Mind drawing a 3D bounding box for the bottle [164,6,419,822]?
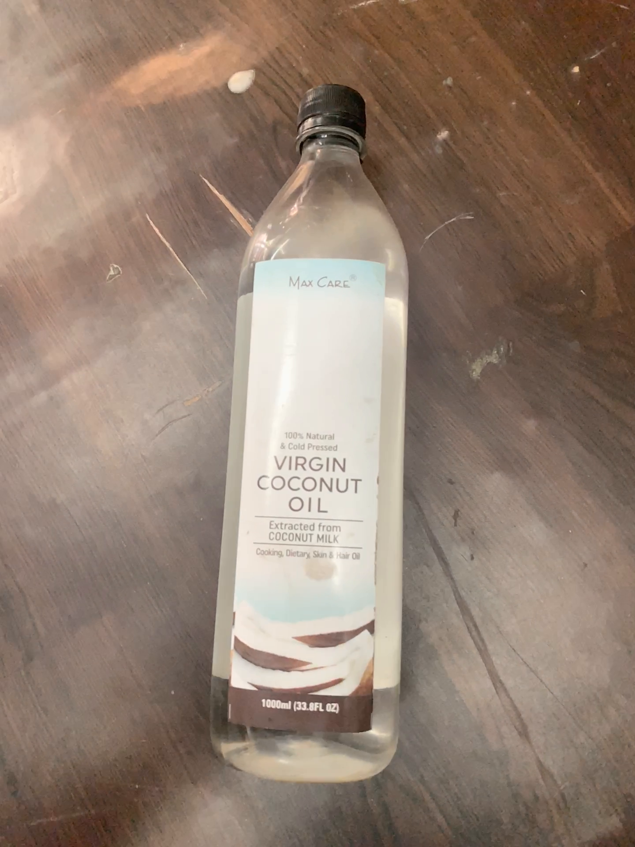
[{"bbox_3d":[-0.003,-0.012,0.267,0.080,0.070,0.290,1,82,4],"label":"bottle"}]
